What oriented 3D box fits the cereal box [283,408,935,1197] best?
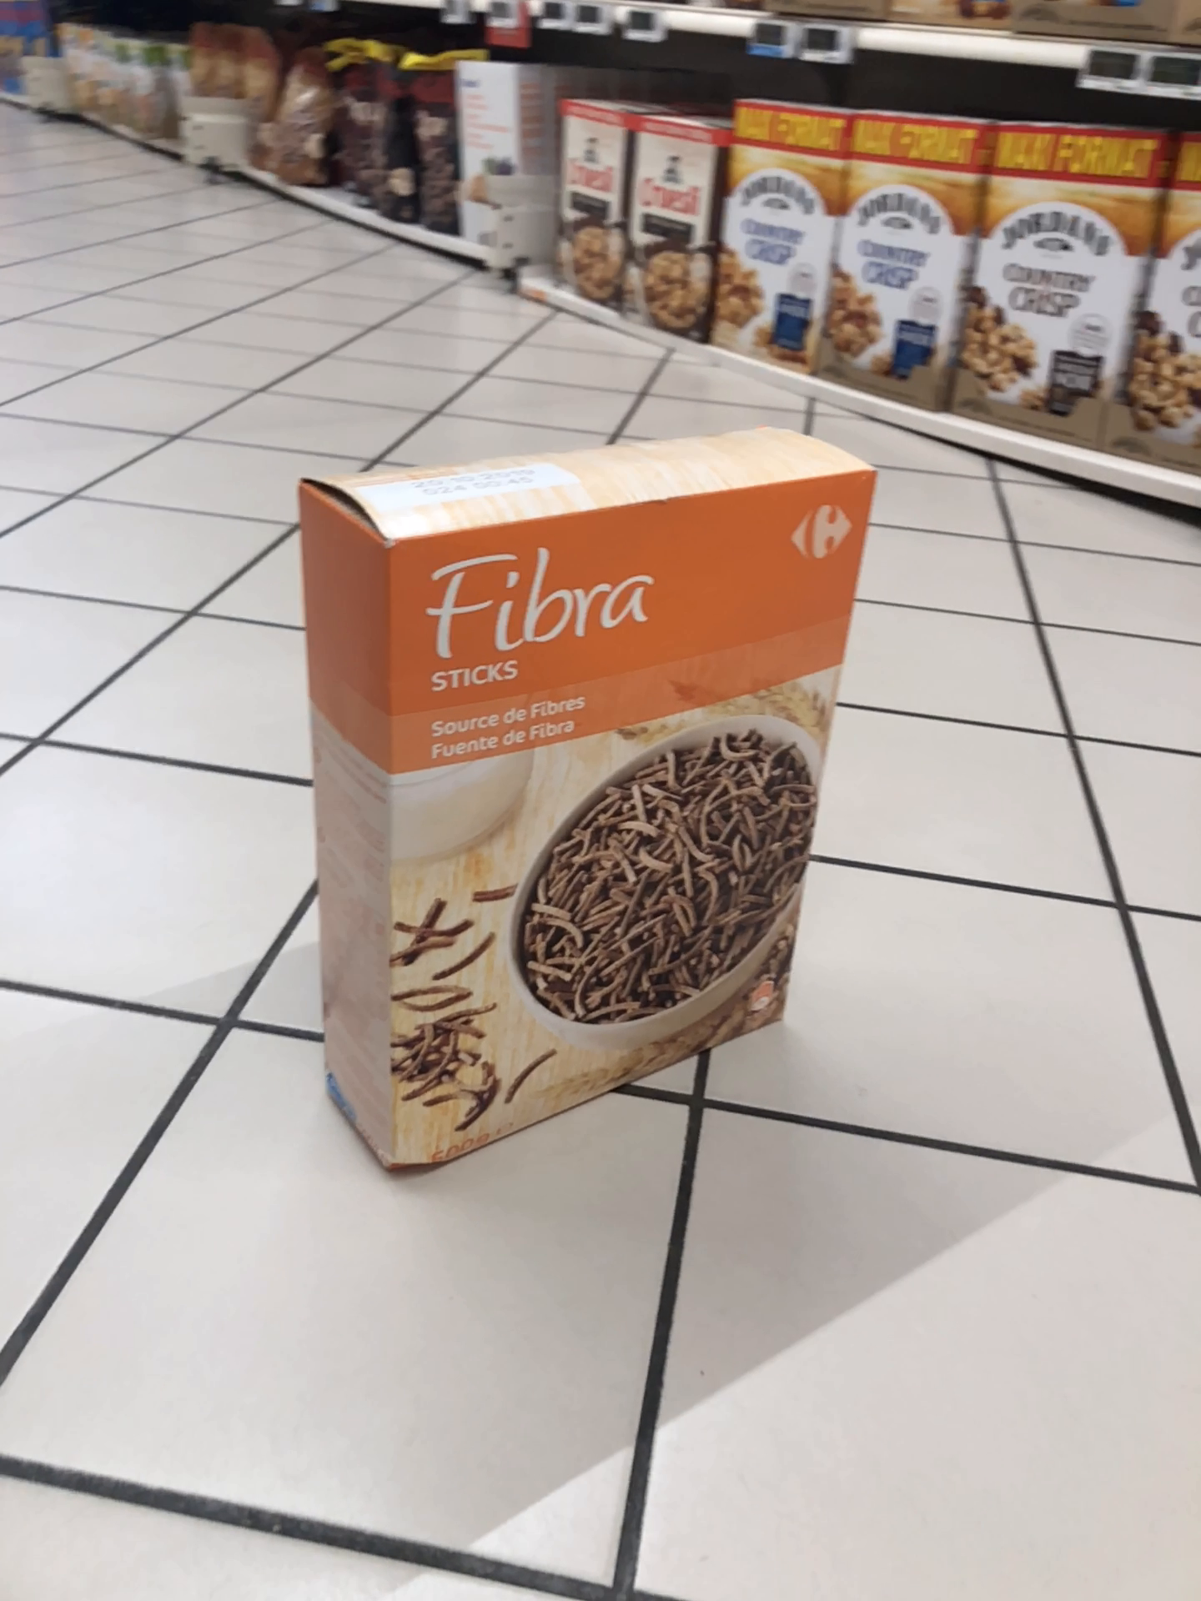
[{"bbox_3d":[0.000,-0.006,0.482,0.201,0.239,0.080,-15,35,-32],"label":"cereal box"}]
